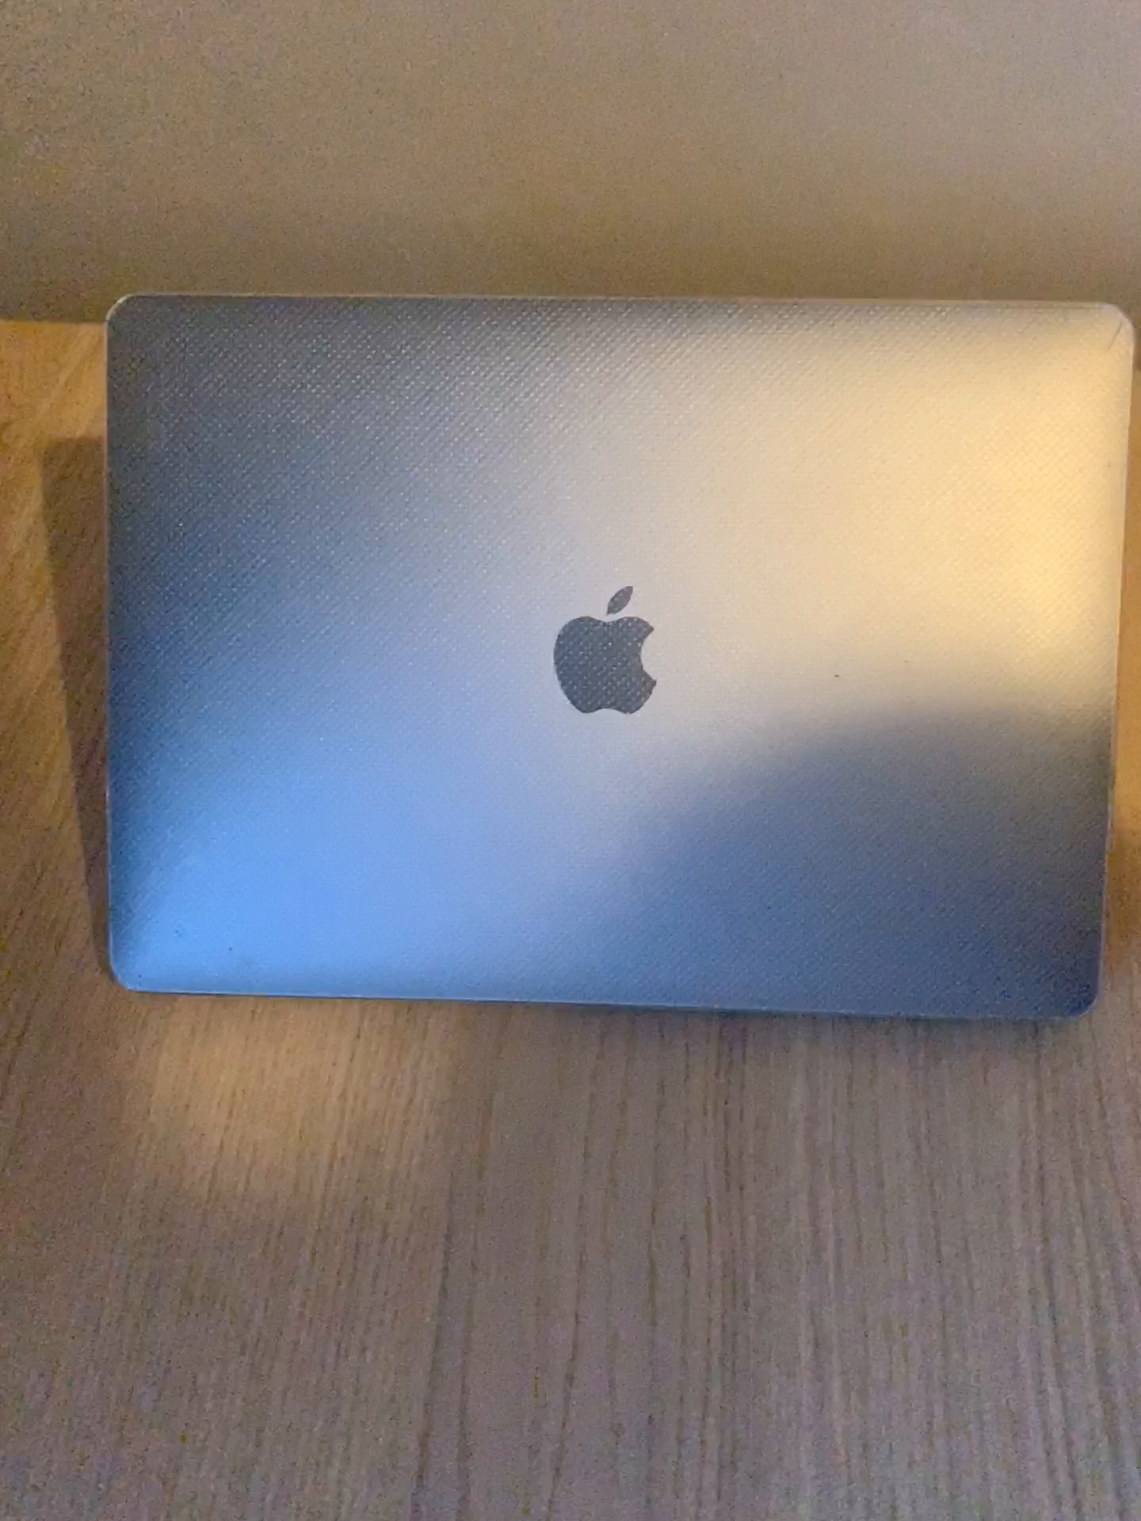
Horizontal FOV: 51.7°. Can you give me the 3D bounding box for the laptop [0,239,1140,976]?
[{"bbox_3d":[0.010,-0.055,0.379,0.309,0.127,0.207,1,53,2],"label":"laptop"}]
